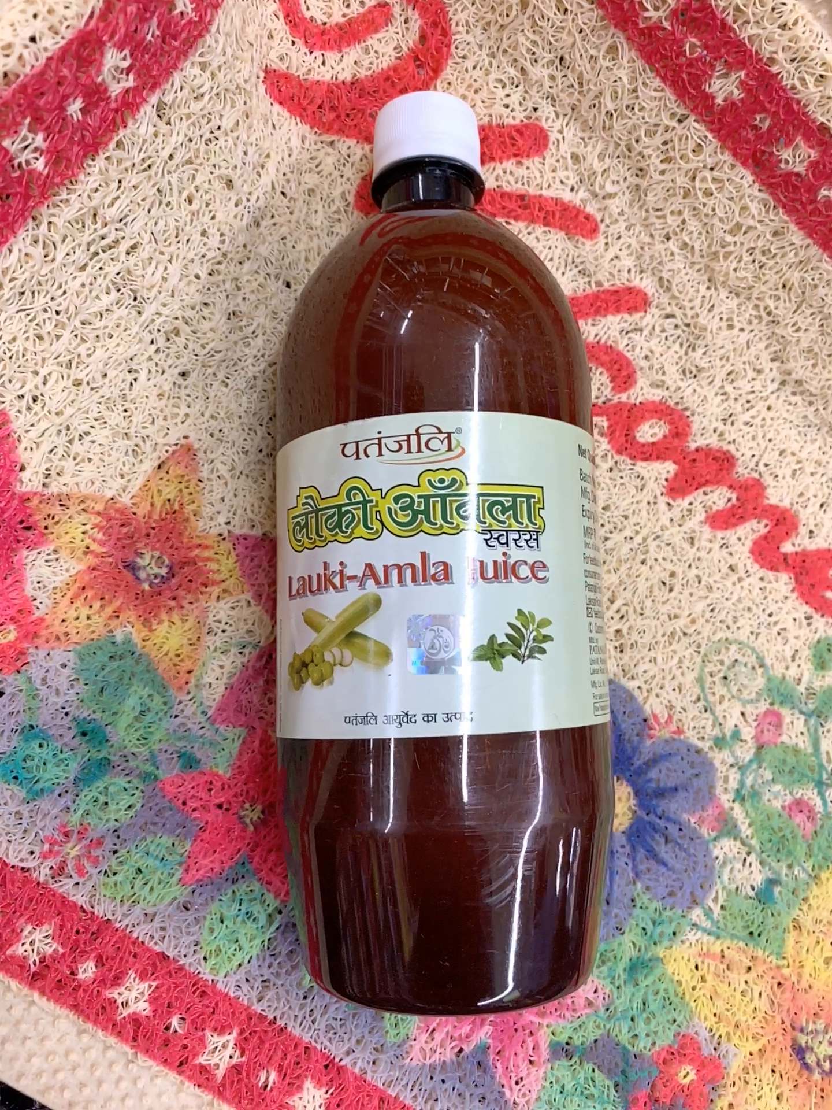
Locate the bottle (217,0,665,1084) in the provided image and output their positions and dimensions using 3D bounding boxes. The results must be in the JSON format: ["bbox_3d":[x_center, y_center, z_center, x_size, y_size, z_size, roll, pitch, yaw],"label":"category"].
[{"bbox_3d":[0.006,-0.022,0.225,0.080,0.080,0.250,12,74,-61],"label":"bottle"}]
